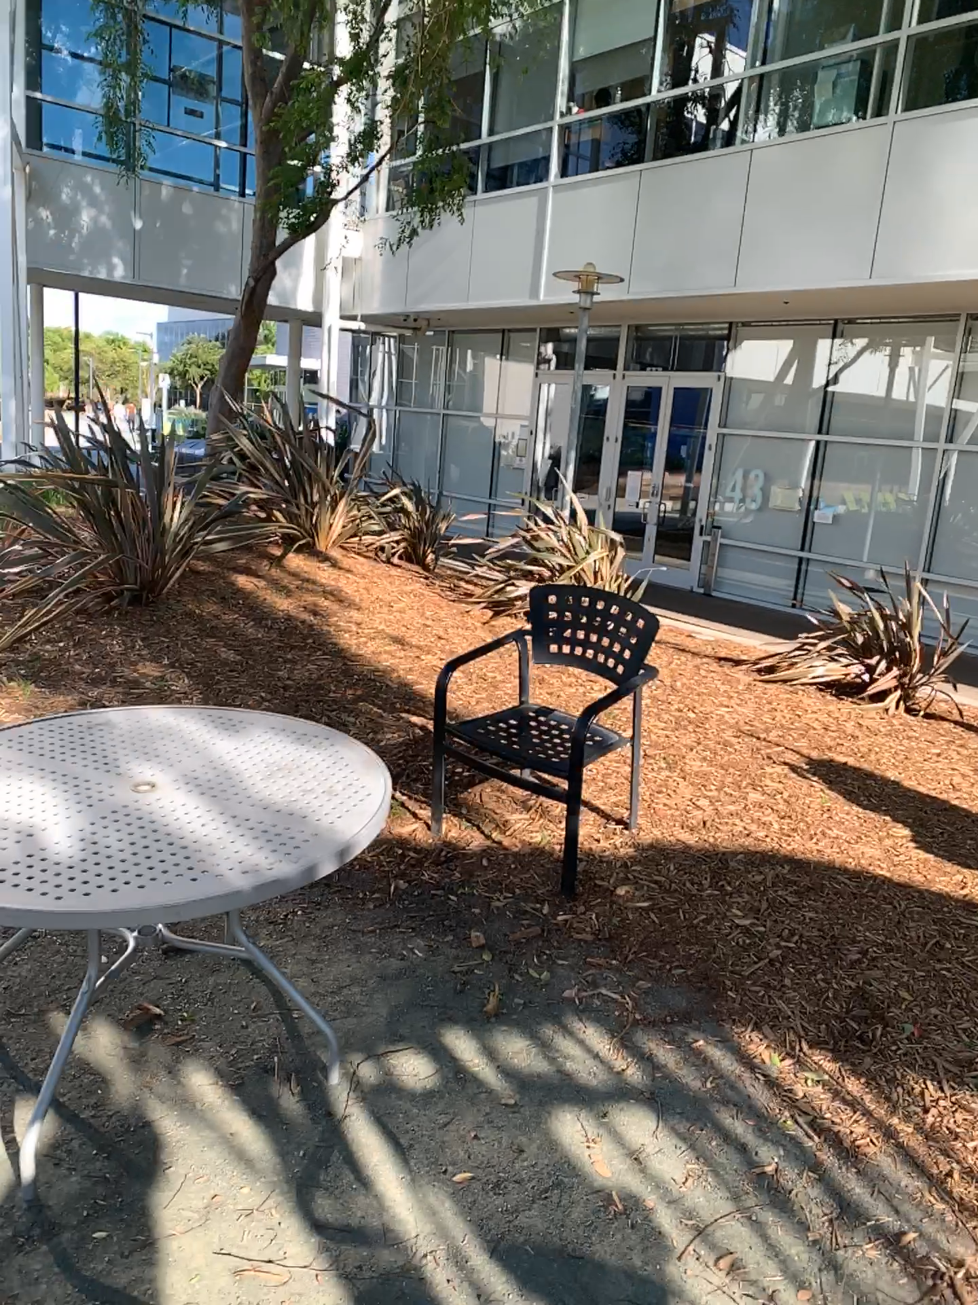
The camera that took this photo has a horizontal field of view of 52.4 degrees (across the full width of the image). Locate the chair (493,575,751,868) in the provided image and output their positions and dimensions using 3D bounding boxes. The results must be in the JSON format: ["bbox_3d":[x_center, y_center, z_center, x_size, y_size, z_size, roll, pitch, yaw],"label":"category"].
[{"bbox_3d":[0.403,0.171,3.059,0.521,0.718,0.500,15,16,39],"label":"chair"}]
